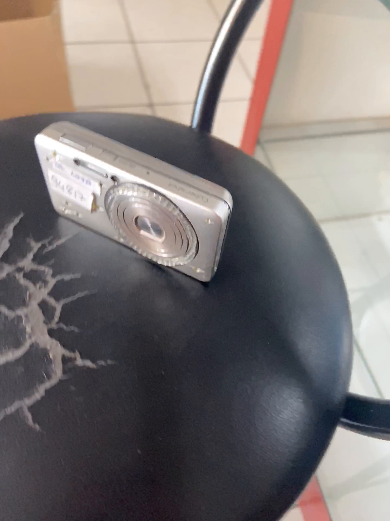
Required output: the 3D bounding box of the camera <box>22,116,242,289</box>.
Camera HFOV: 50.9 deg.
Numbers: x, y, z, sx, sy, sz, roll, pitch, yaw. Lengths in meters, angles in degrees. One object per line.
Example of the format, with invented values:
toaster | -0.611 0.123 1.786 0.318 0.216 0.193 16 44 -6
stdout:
camera | -0.029 -0.026 0.187 0.092 0.042 0.022 25 56 11
